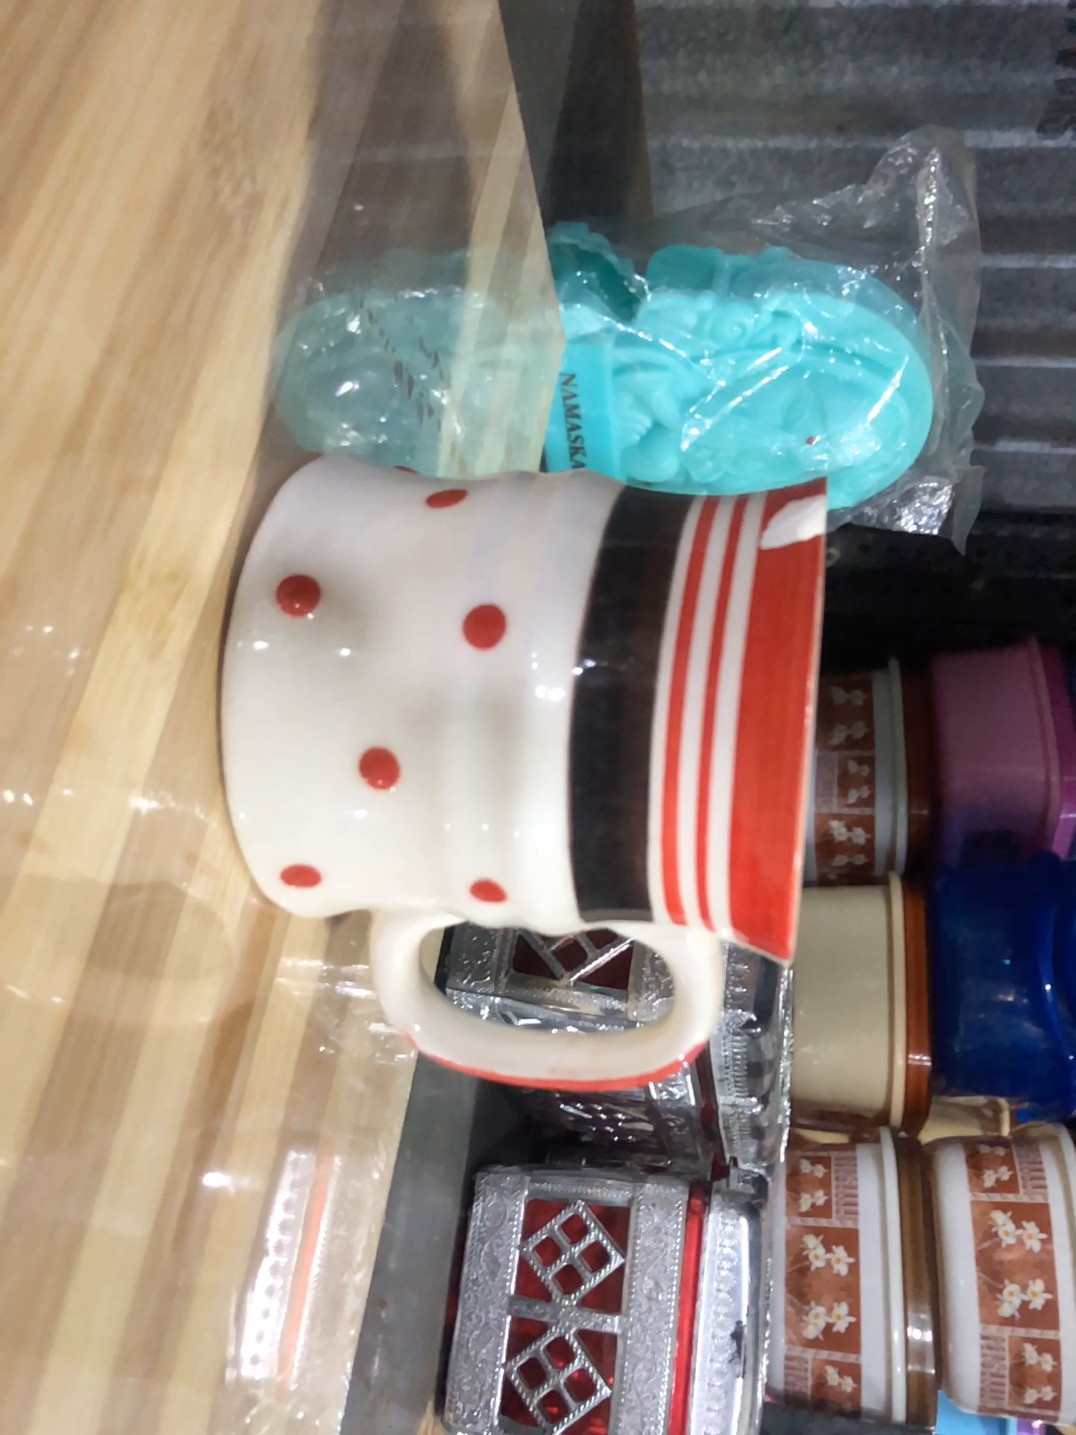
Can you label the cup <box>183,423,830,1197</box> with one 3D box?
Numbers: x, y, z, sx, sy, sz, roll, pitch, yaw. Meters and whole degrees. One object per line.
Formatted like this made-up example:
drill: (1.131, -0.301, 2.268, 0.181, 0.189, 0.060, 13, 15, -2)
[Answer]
cup: (0.004, 0.005, 0.224, 0.100, 0.090, 0.110, 4, 90, -79)
